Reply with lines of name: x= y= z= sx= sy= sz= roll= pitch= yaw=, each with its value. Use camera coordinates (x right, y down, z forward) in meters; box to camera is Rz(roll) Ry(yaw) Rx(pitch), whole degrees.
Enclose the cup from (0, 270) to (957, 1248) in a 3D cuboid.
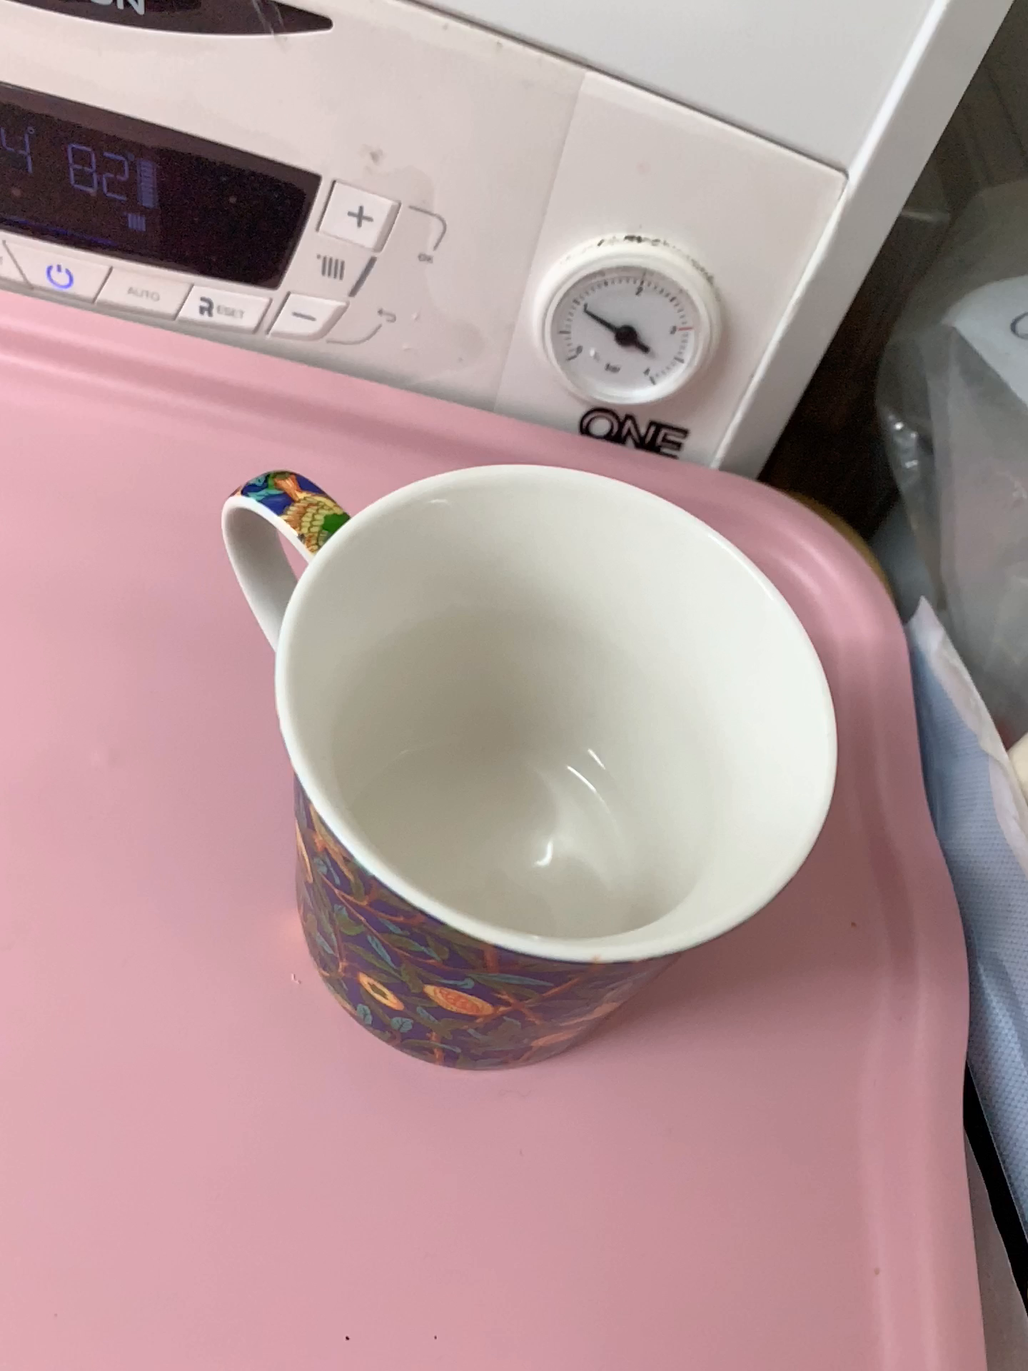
cup: x=-0.014 y=0.008 z=0.181 sx=0.080 sy=0.079 sz=0.120 roll=-34 pitch=70 yaw=-33
